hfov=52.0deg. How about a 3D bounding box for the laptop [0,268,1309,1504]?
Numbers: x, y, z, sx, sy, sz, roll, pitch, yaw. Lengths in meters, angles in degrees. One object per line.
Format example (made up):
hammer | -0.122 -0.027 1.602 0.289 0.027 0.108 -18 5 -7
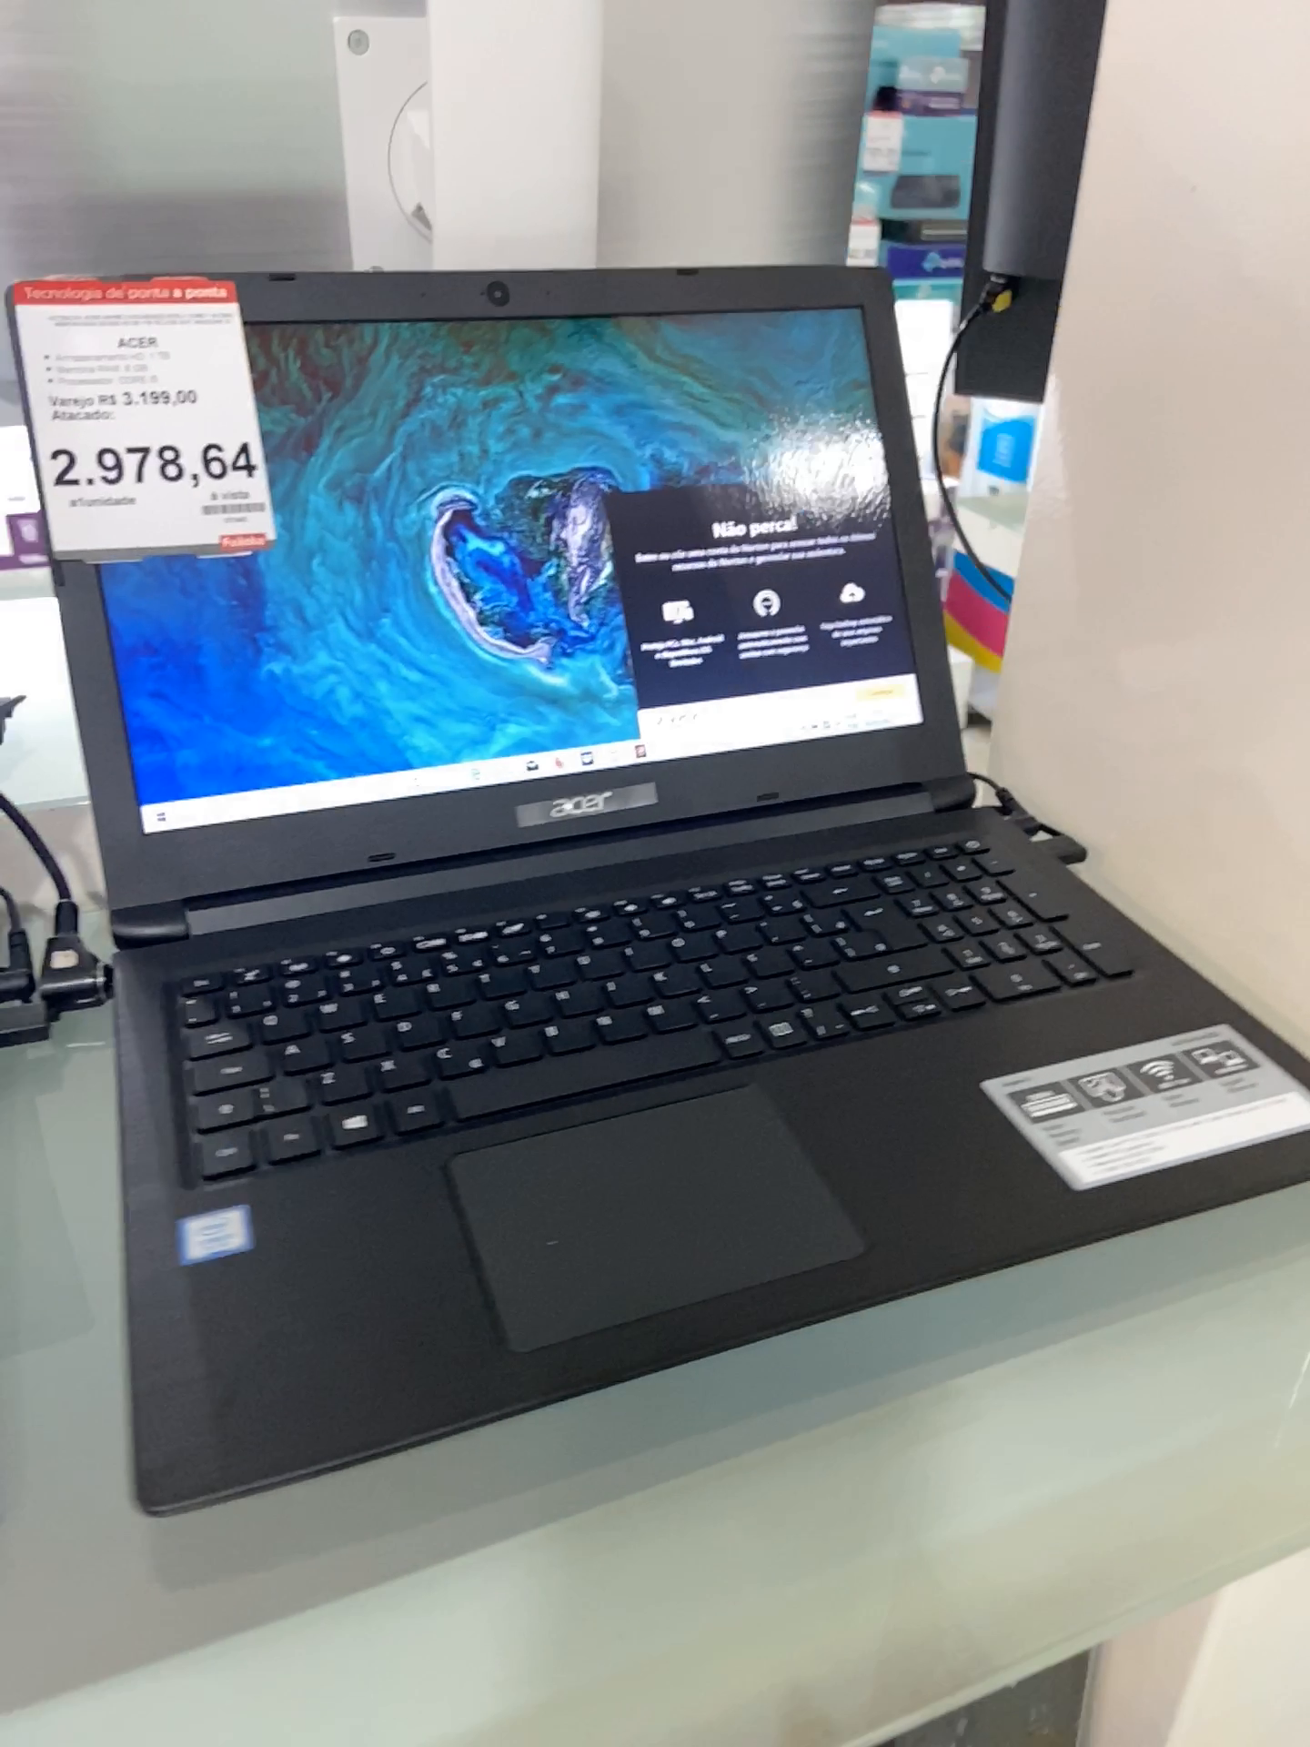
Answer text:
laptop | -0.006 -0.069 0.459 0.369 0.205 0.377 -9 31 -18
